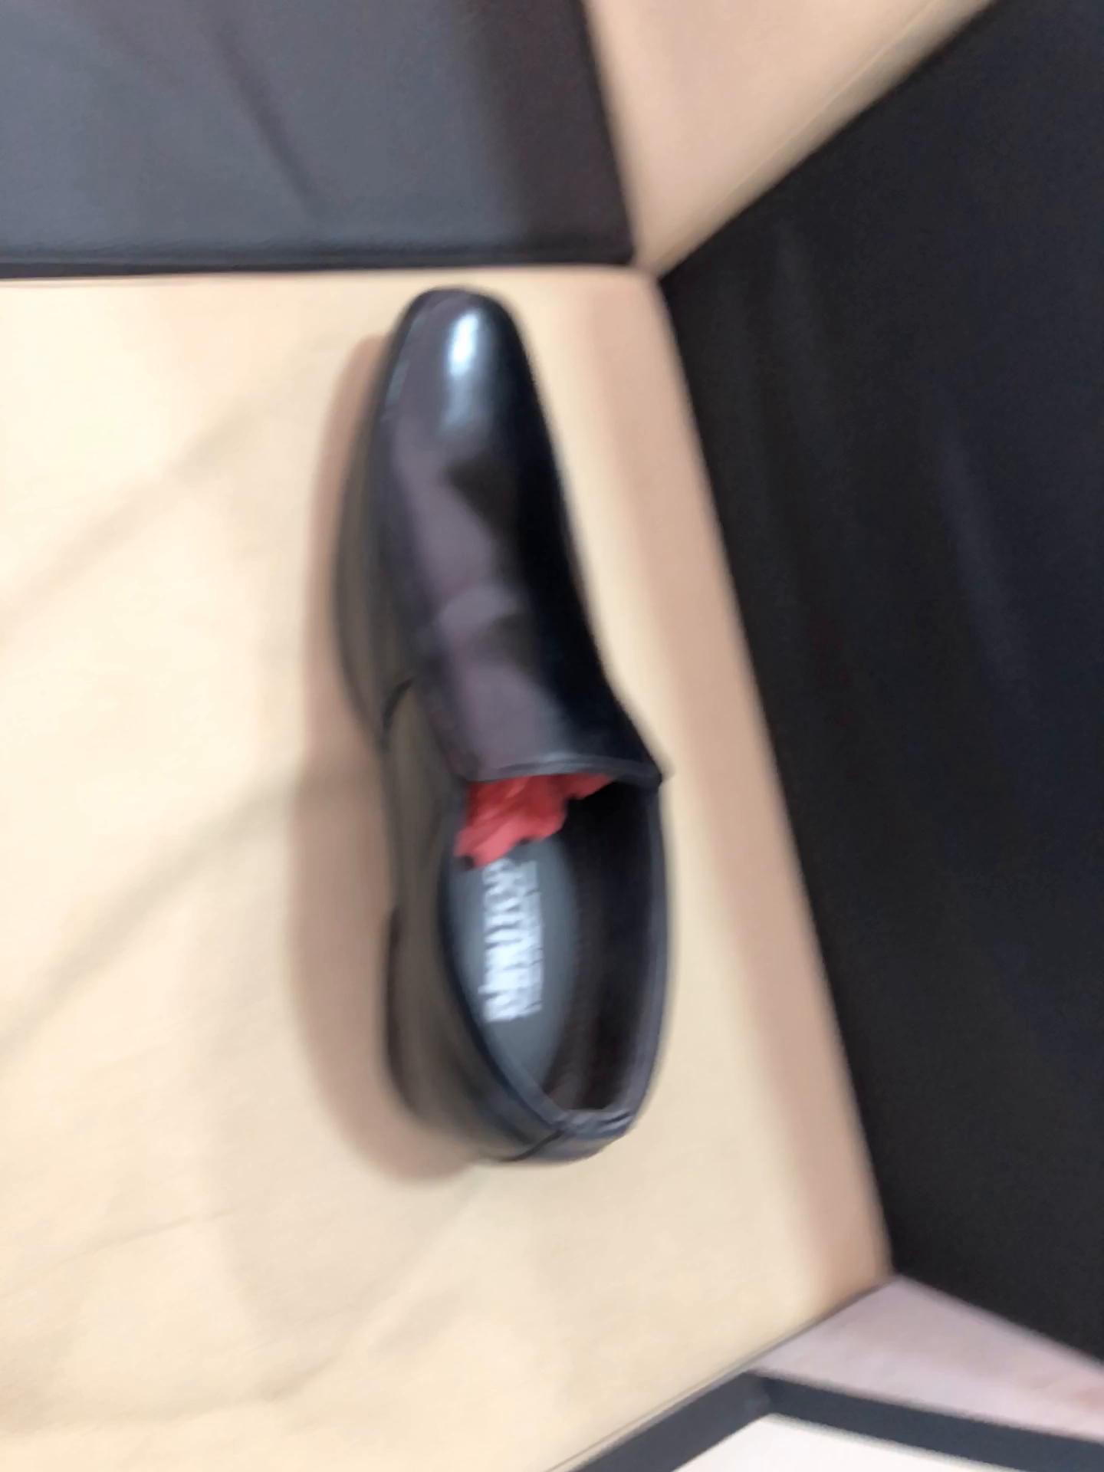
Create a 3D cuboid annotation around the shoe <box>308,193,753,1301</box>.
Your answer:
[{"bbox_3d":[-0.011,0.000,0.413,0.101,0.080,0.320,-3,86,-28],"label":"shoe"}]
